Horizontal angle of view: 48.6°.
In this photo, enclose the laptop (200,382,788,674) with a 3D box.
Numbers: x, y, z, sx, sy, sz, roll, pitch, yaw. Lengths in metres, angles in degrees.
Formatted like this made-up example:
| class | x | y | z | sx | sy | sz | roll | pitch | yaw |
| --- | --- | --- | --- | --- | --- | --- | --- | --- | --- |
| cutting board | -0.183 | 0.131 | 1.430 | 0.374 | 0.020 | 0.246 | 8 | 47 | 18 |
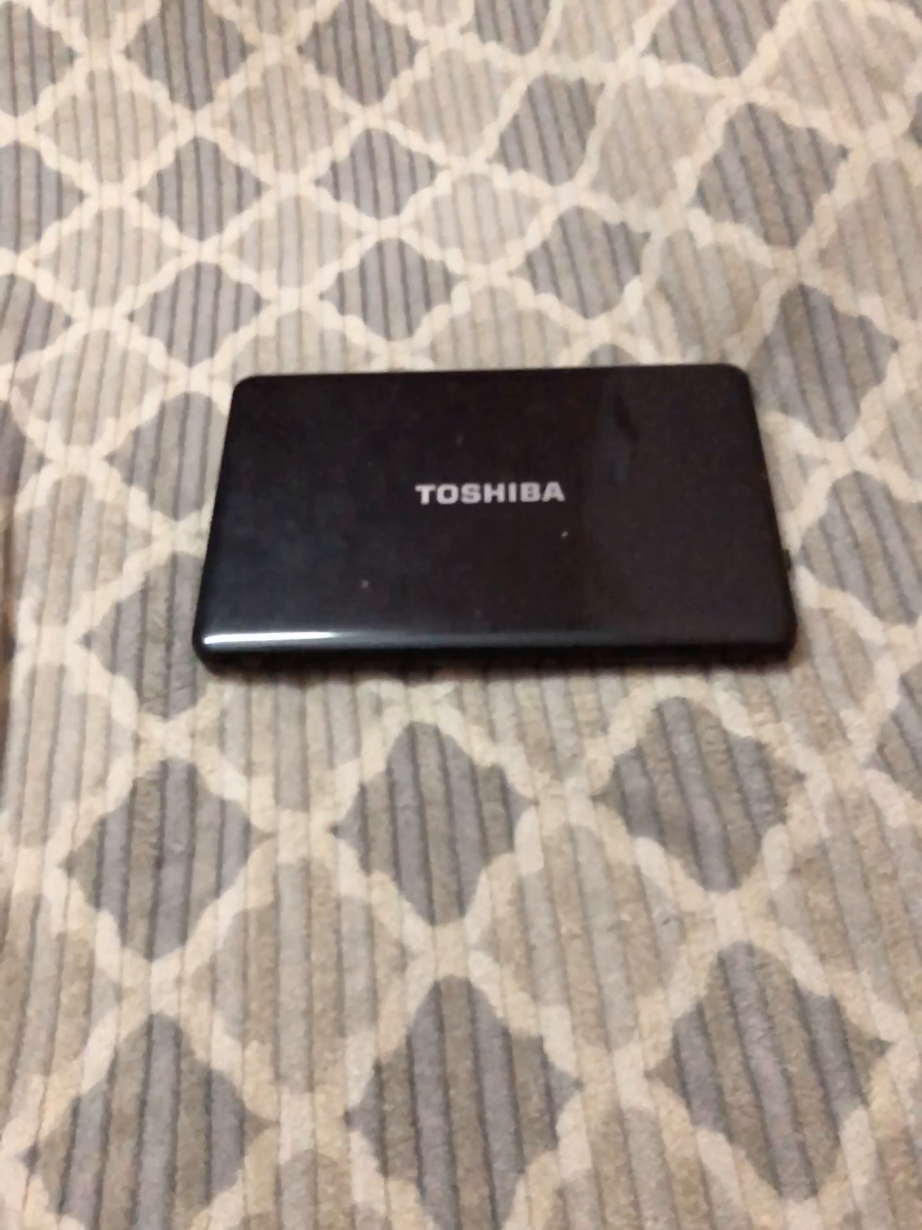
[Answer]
| class | x | y | z | sx | sy | sz | roll | pitch | yaw |
| --- | --- | --- | --- | --- | --- | --- | --- | --- | --- |
| laptop | 0.018 | -0.070 | 0.734 | 0.375 | 0.023 | 0.249 | -1 | 54 | 2 |
